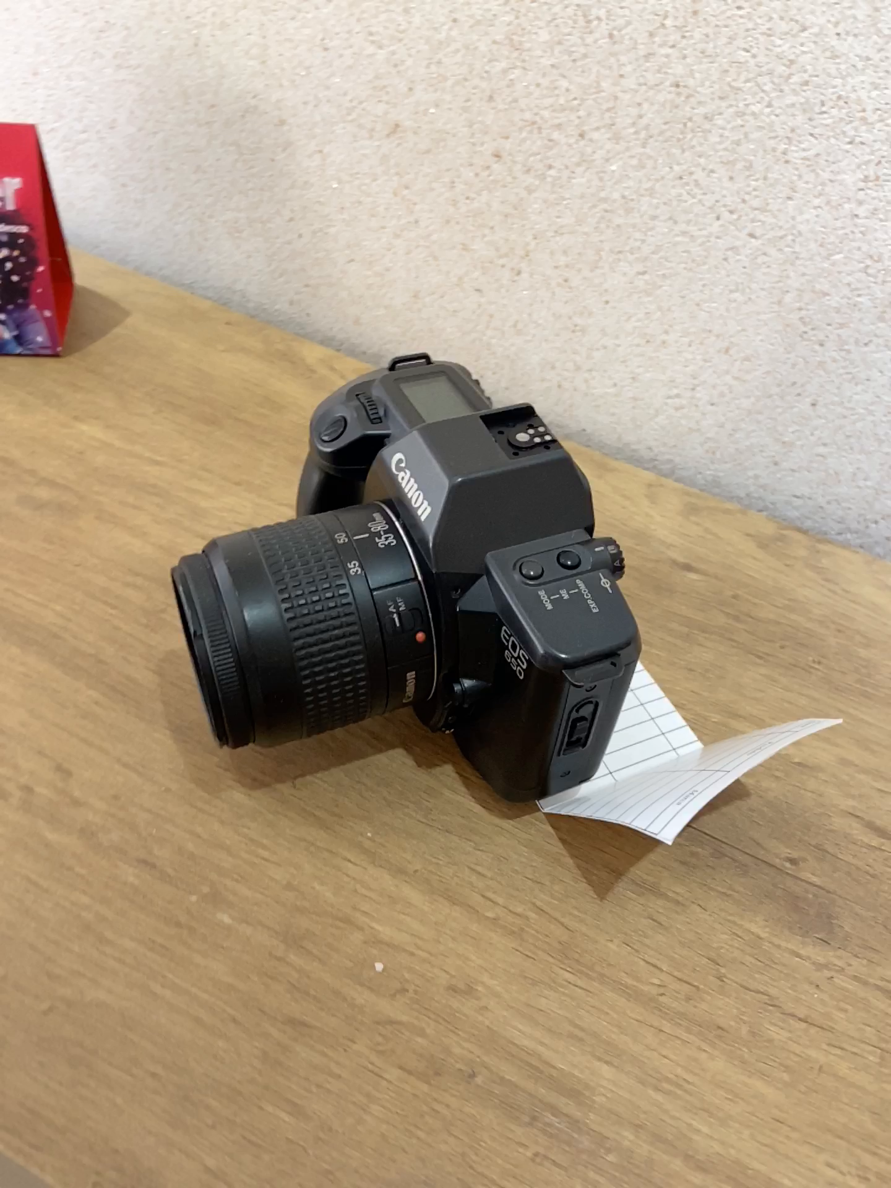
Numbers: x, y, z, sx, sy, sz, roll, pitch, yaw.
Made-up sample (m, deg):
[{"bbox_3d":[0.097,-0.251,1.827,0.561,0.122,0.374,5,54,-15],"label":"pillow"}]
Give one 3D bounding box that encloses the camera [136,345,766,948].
[{"bbox_3d":[-0.010,0.005,0.305,0.140,0.099,0.141,-14,48,-22],"label":"camera"}]
